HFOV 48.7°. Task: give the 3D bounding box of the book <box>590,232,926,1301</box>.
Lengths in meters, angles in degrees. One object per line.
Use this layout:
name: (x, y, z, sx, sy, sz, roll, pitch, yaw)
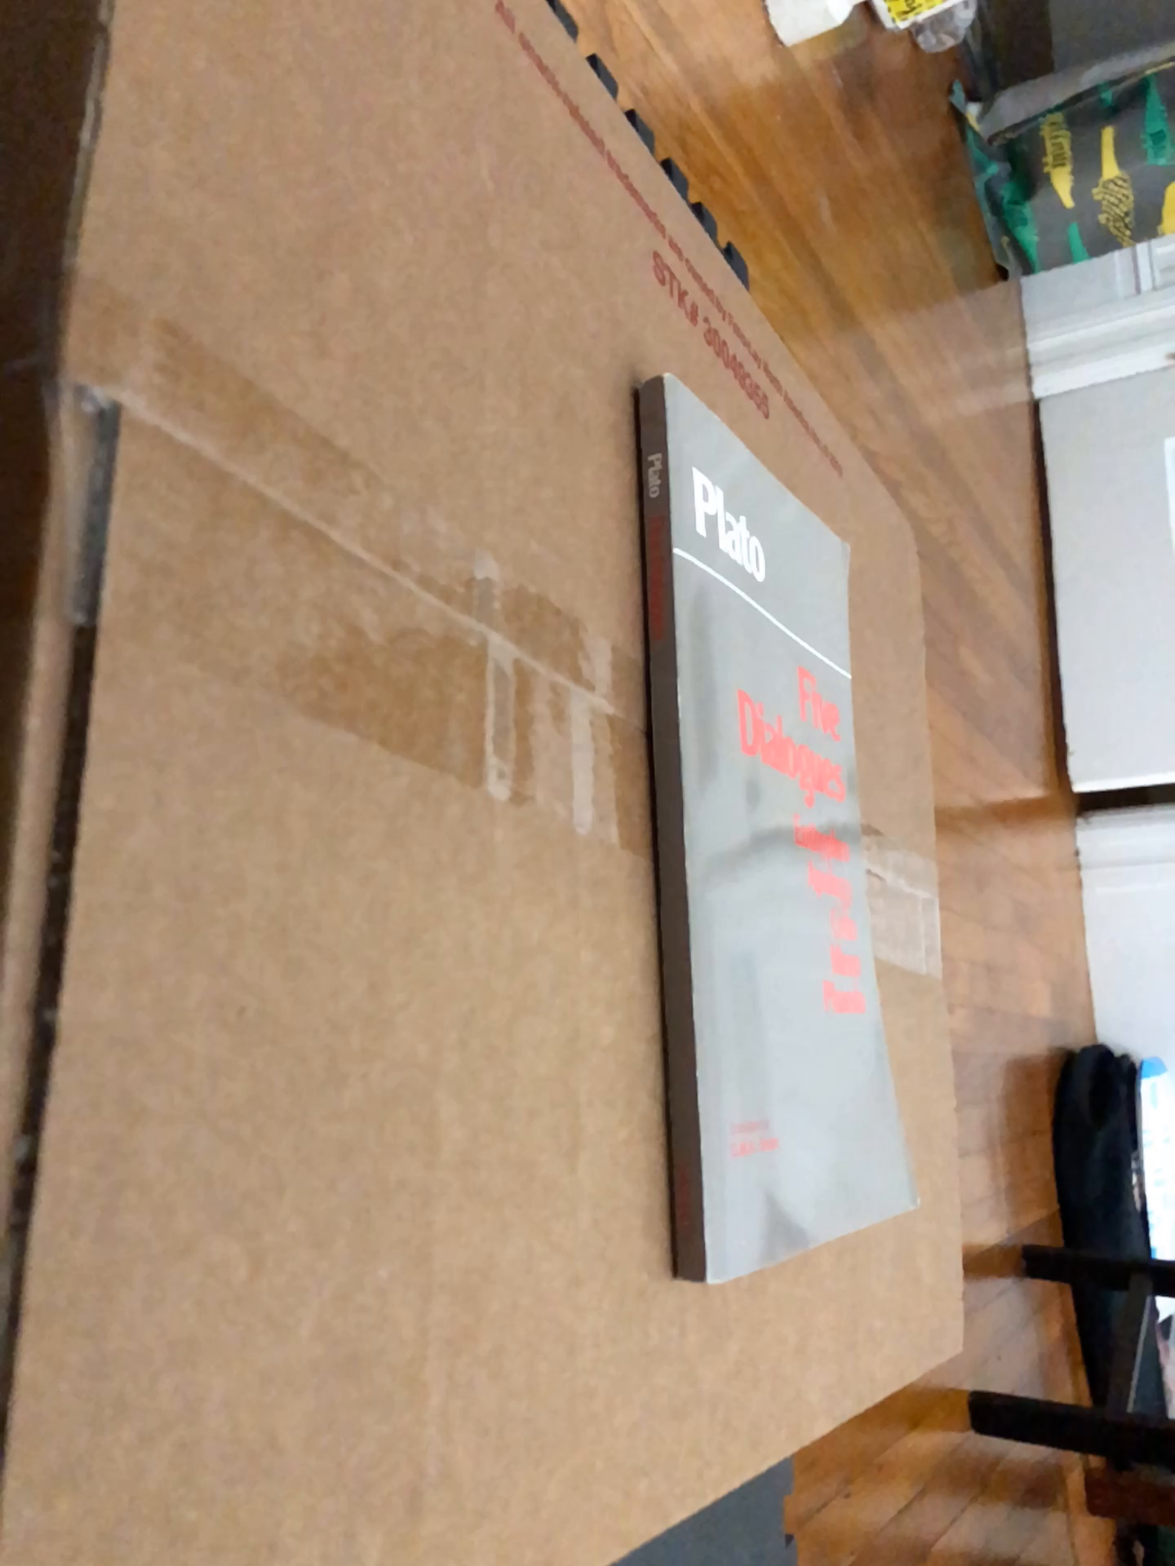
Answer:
book: (0.047, 0.000, 0.327, 0.141, 0.020, 0.220, 17, 68, -60)
